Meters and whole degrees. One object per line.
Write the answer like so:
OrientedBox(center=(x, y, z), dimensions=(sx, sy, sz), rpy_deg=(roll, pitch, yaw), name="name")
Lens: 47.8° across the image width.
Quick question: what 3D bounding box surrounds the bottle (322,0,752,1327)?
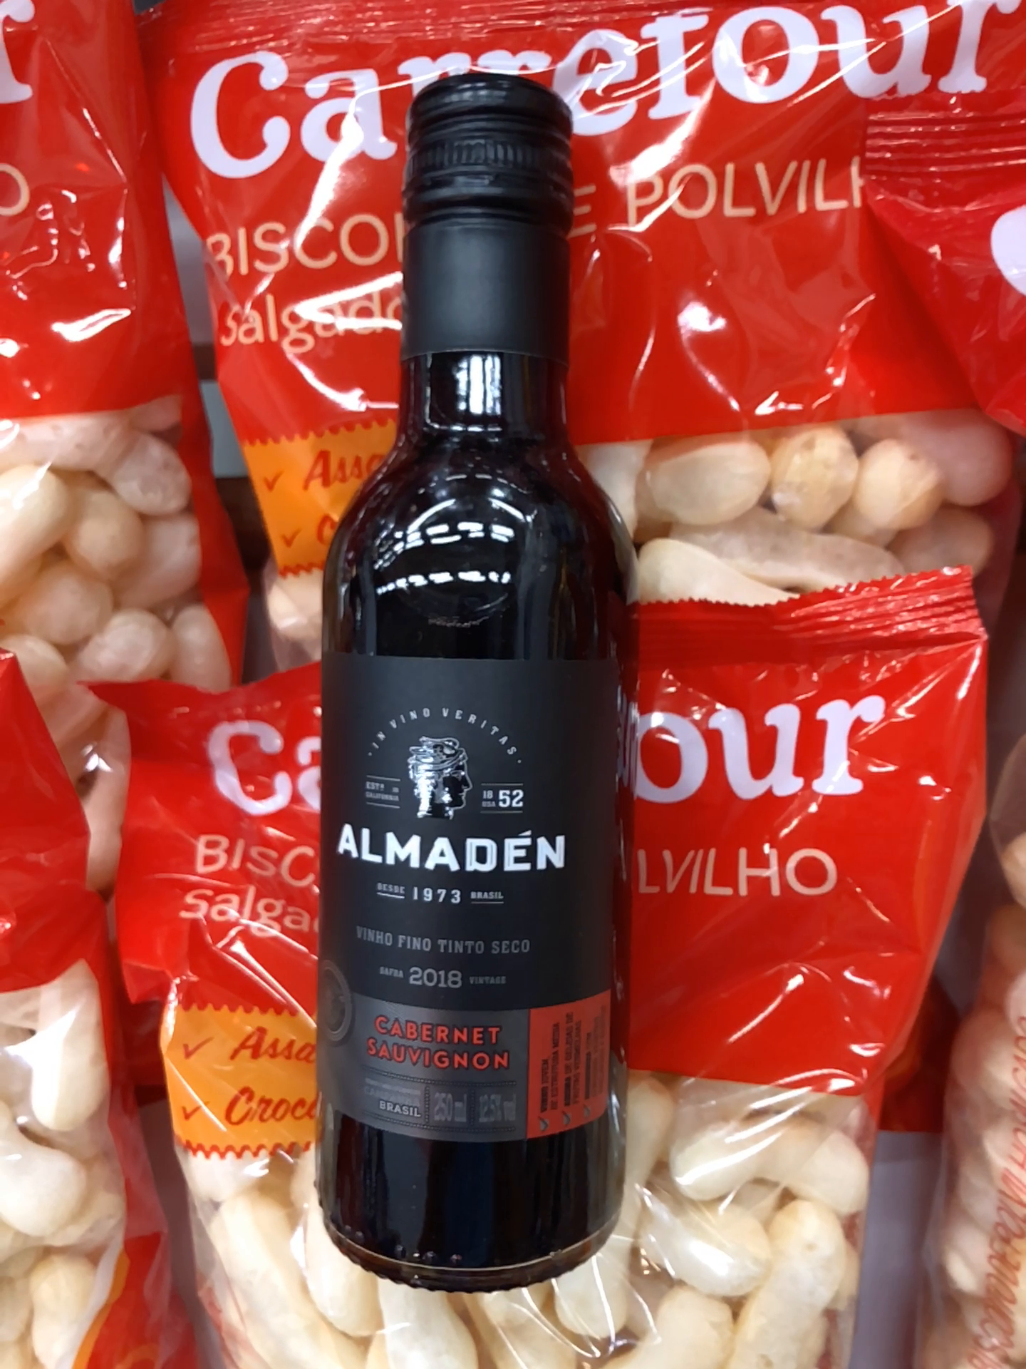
OrientedBox(center=(0.006, -0.008, 0.196), dimensions=(0.060, 0.050, 0.200), rpy_deg=(1, 90, 8), name="bottle")
